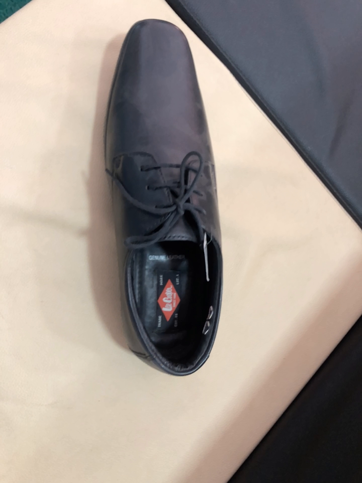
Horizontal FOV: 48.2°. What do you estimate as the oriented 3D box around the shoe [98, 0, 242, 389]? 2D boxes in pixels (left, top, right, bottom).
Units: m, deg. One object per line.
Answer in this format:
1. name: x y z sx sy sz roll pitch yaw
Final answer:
1. shoe: -0.012 -0.043 0.300 0.090 0.080 0.270 1 88 -14
